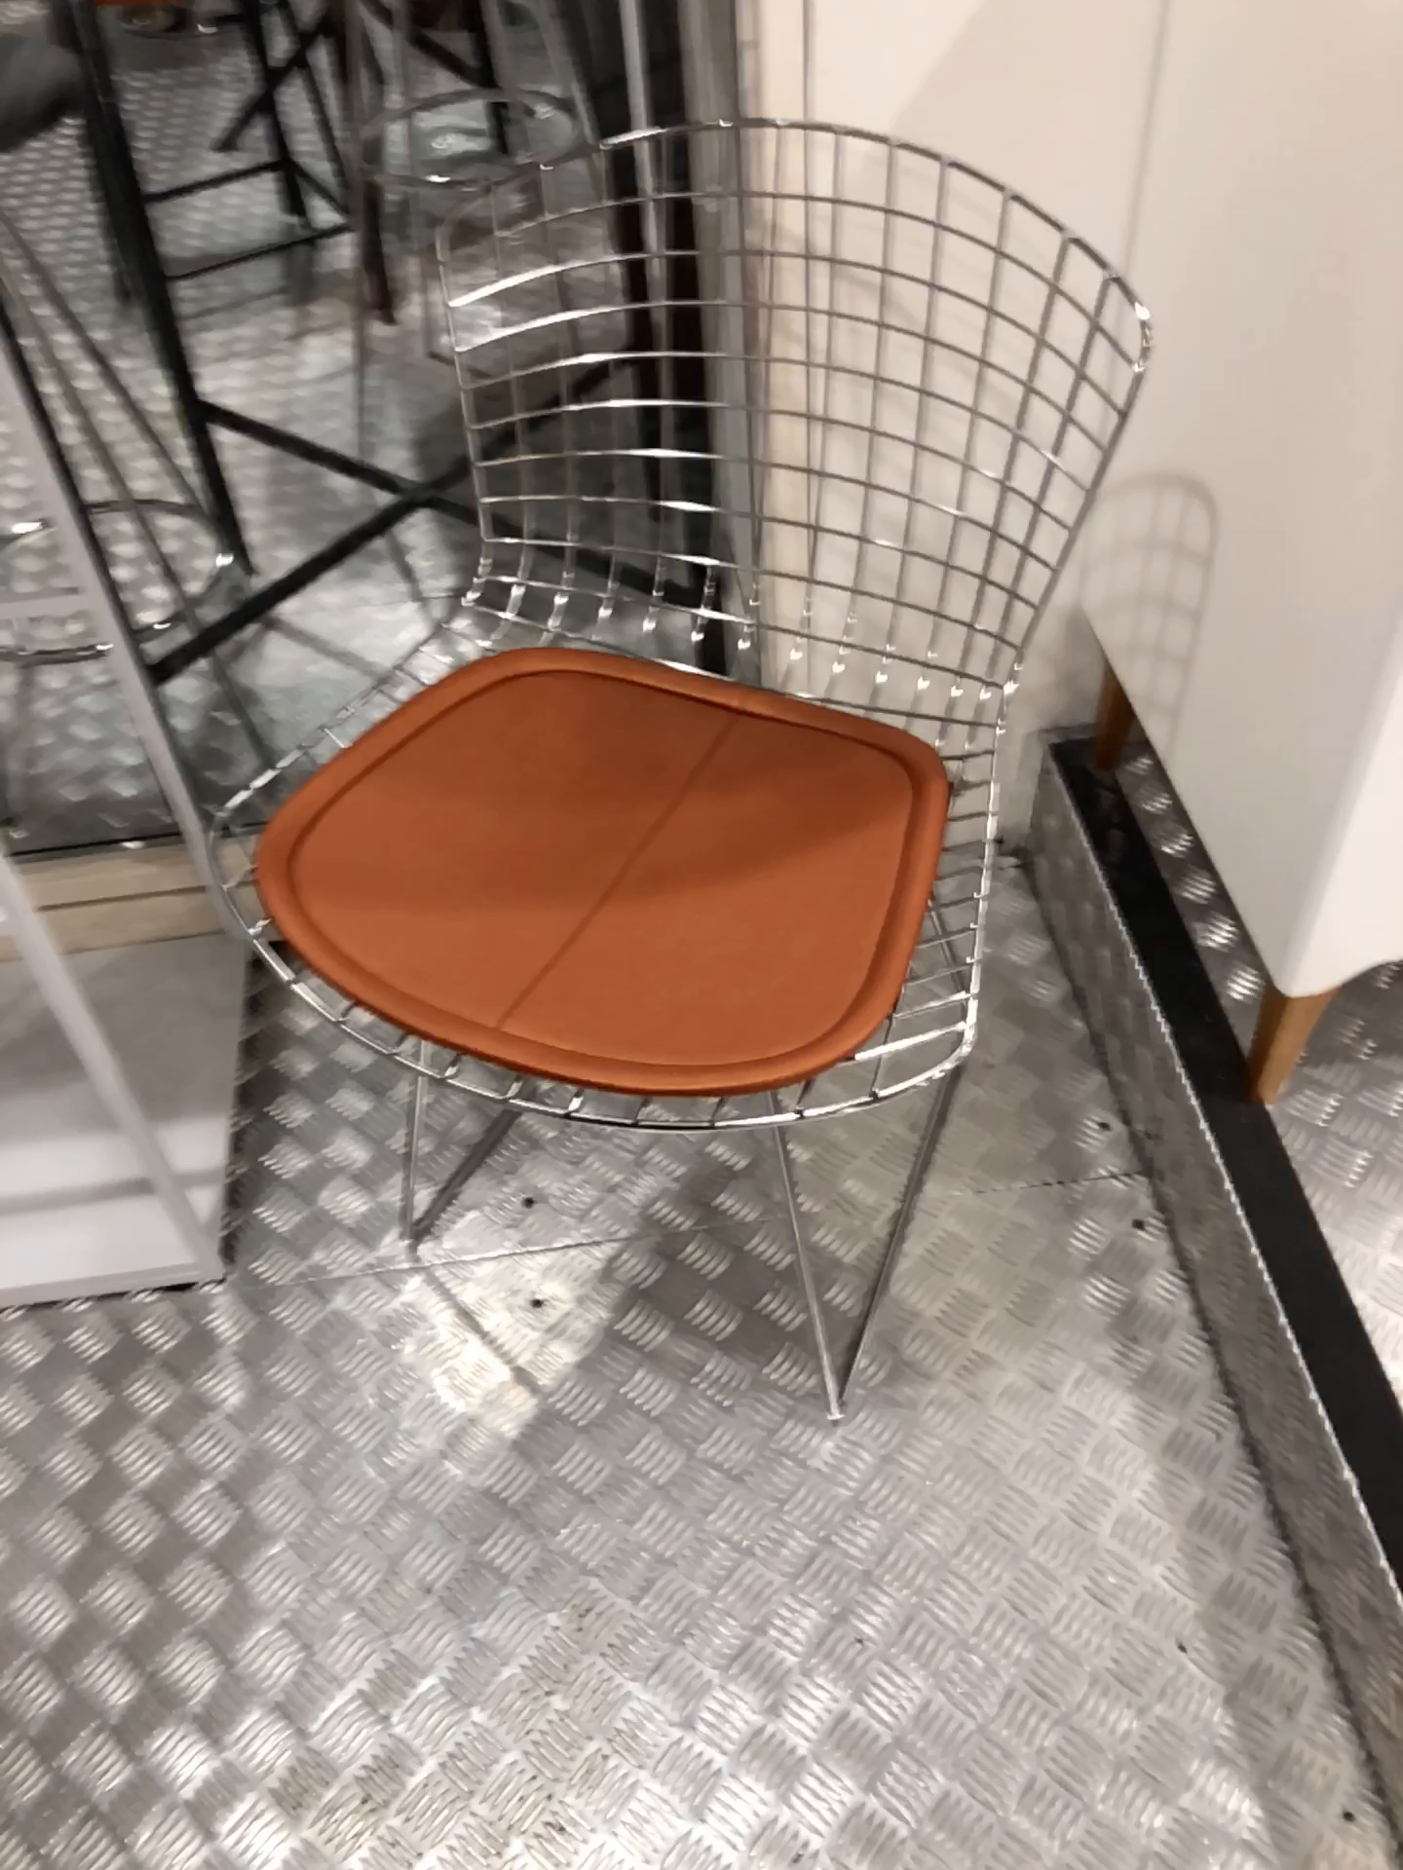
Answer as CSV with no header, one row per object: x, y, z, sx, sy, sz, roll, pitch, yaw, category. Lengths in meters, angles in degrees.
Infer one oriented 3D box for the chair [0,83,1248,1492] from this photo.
-0.012,-0.109,1.114,0.551,0.706,0.573,16,50,19,chair
